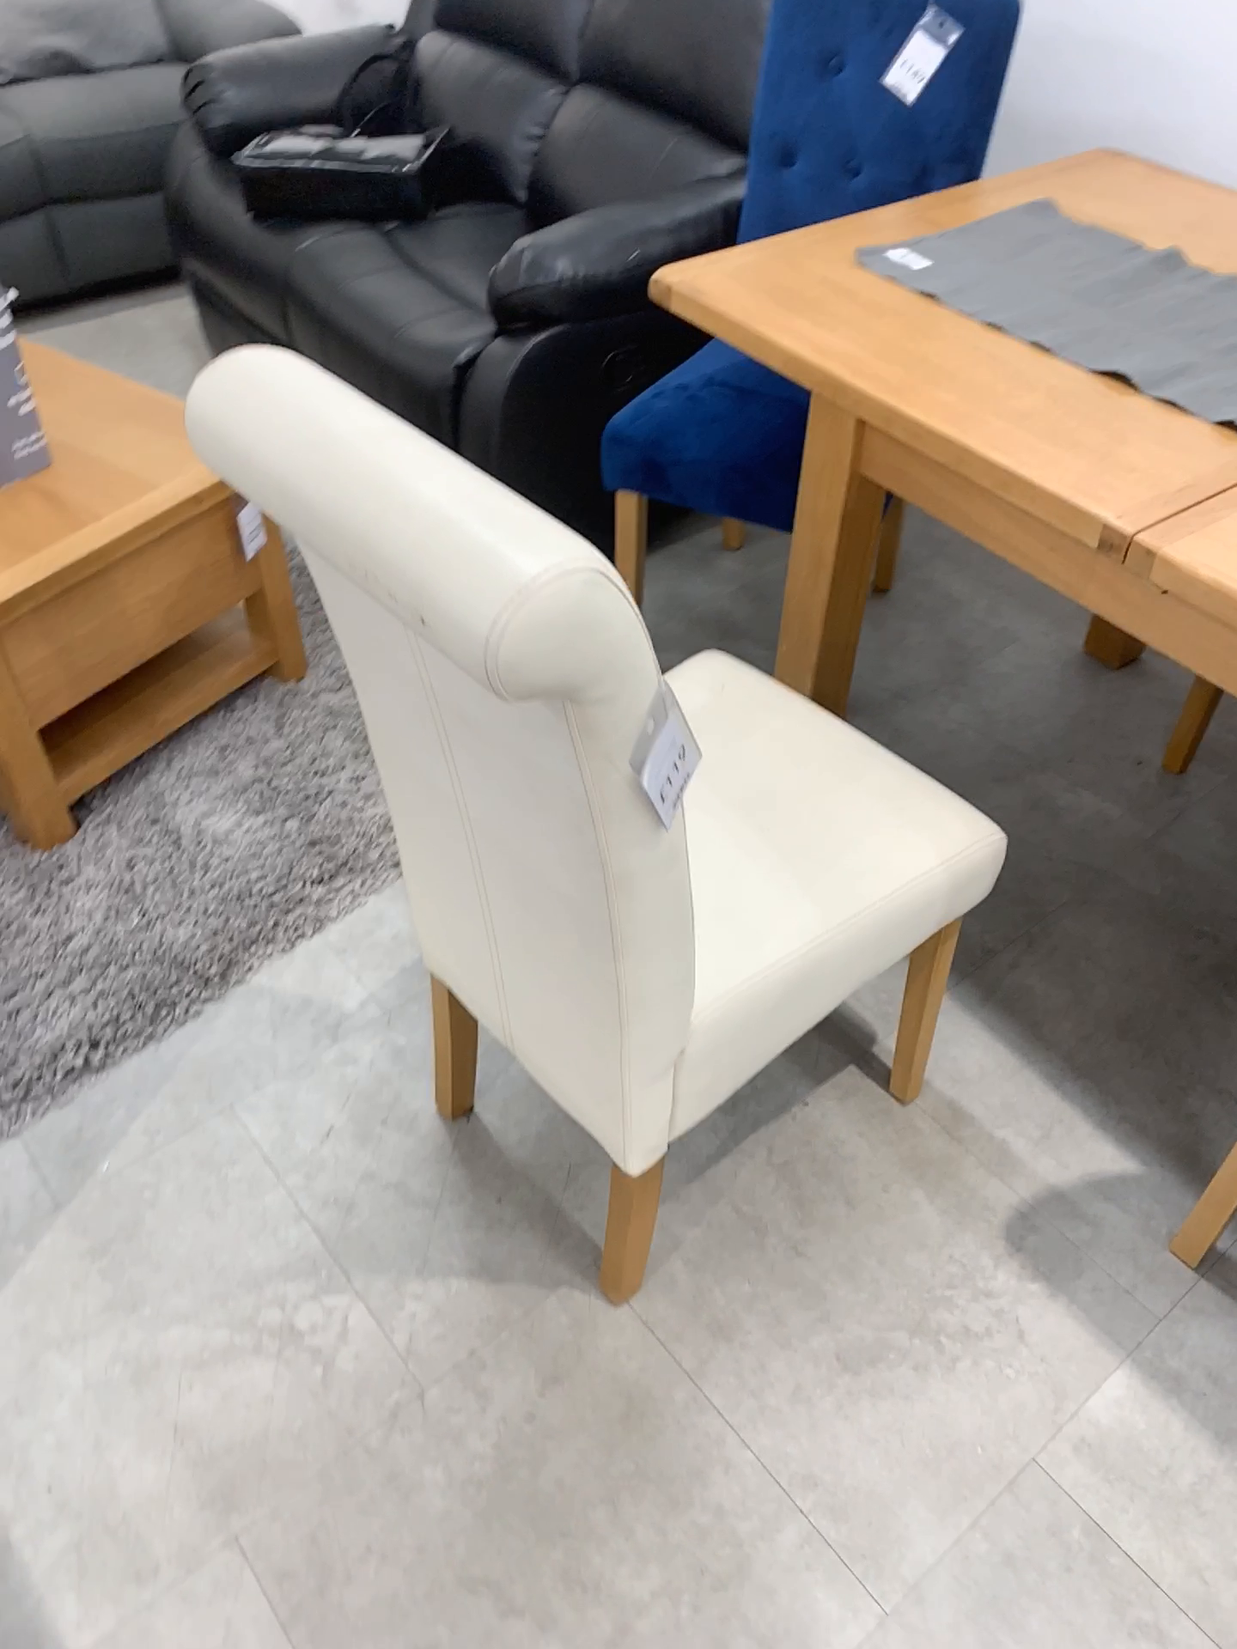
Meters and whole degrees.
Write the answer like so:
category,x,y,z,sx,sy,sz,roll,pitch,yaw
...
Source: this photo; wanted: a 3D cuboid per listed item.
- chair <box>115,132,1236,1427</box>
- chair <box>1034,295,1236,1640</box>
category,x,y,z,sx,sy,sz,roll,pitch,yaw
chair,0.046,-0.020,1.186,0.594,0.935,0.516,-31,52,-29
chair,0.844,0.148,1.083,0.583,0.905,0.486,-28,51,-26
